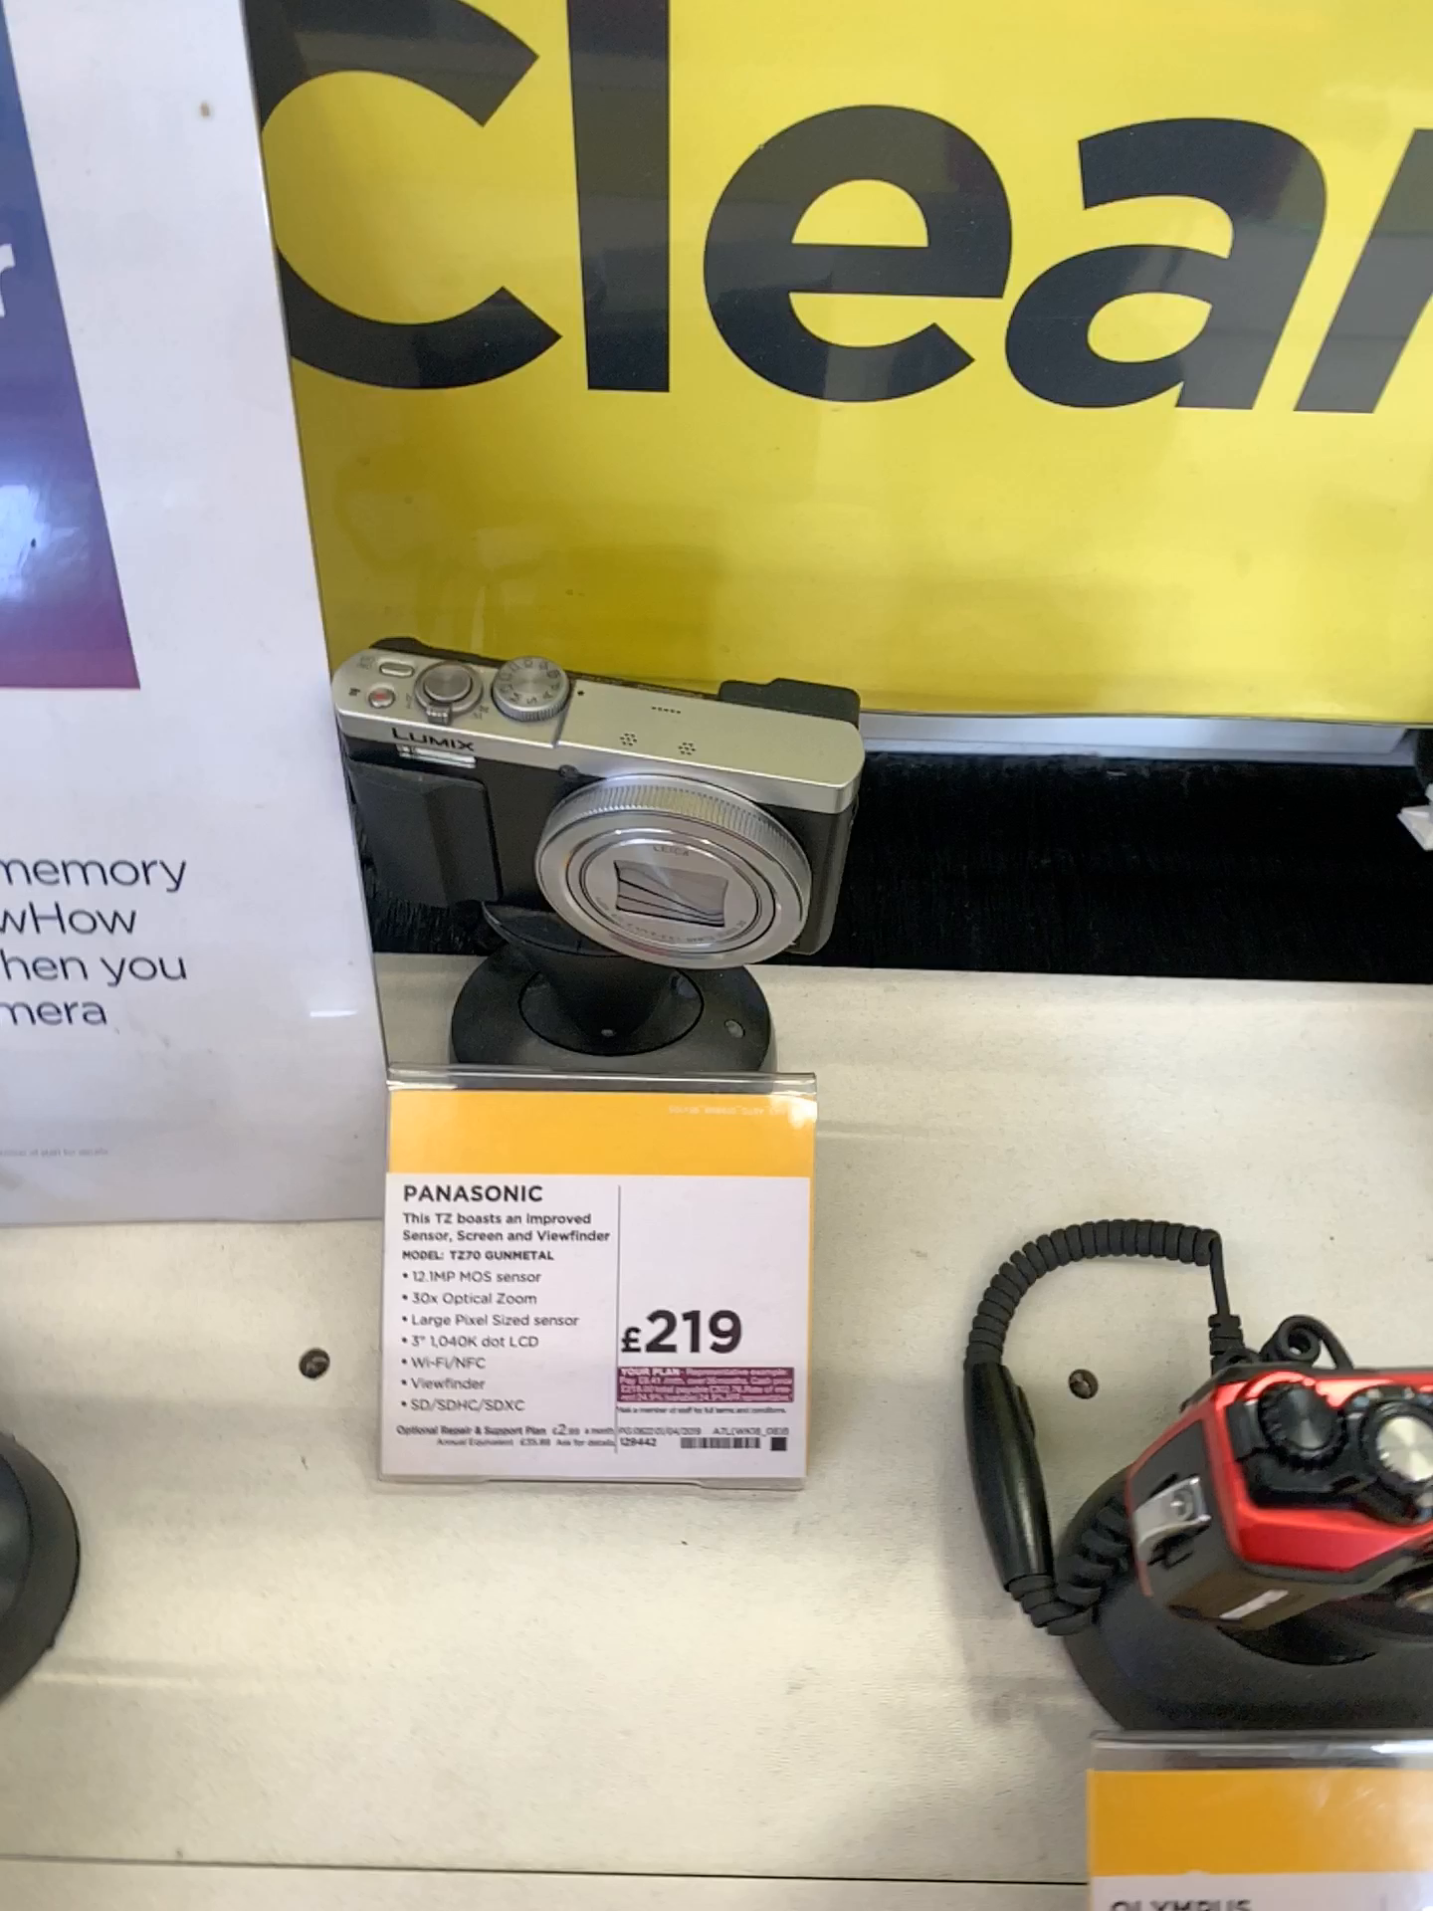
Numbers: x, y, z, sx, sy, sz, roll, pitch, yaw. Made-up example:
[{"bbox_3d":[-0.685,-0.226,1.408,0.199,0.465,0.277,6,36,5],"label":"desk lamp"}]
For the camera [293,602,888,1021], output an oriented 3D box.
[{"bbox_3d":[-0.024,-0.029,0.317,0.110,0.070,0.040,9,58,4],"label":"camera"}]
